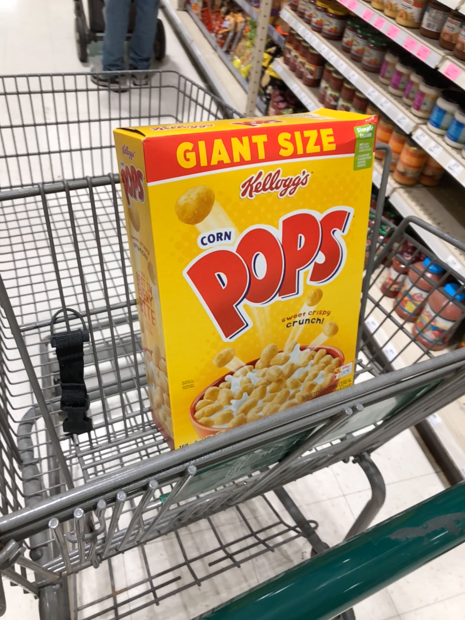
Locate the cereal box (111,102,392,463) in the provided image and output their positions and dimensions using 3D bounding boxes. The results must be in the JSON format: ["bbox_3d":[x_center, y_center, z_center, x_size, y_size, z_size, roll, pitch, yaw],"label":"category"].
[{"bbox_3d":[0.026,-0.032,0.544,0.250,0.329,0.080,-15,30,-24],"label":"cereal box"}]
